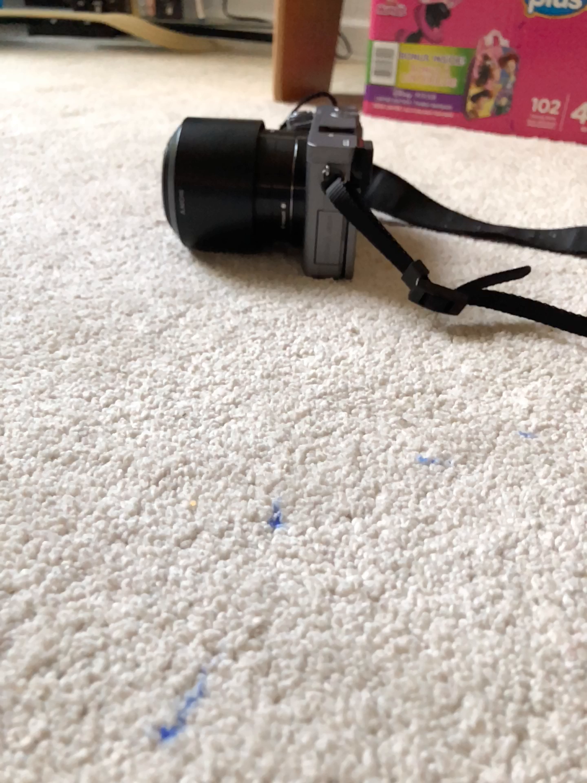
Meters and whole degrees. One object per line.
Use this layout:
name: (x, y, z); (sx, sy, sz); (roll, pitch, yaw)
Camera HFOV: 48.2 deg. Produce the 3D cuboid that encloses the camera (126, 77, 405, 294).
camera: (-0.009, -0.113, 0.335); (0.110, 0.070, 0.141); (3, 31, 1)
